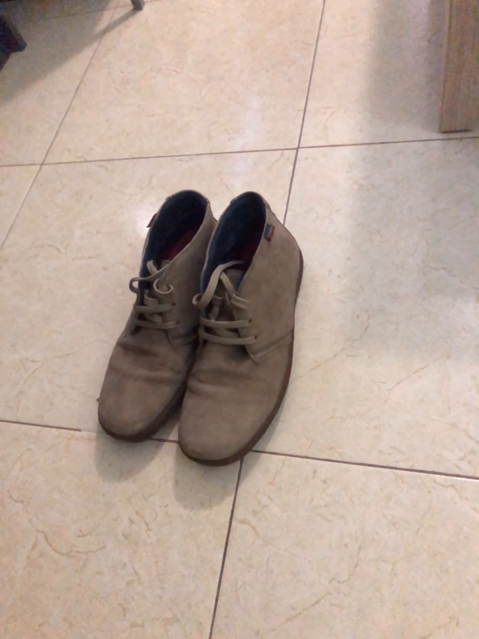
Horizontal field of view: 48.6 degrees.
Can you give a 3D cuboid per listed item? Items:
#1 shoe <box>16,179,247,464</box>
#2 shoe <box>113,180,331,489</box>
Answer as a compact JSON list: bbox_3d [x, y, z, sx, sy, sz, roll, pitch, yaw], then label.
[{"bbox_3d":[-0.101,-0.006,0.589,0.110,0.120,0.280,10,63,22],"label":"shoe"},{"bbox_3d":[0.000,0.006,0.544,0.120,0.120,0.280,8,62,20],"label":"shoe"}]
